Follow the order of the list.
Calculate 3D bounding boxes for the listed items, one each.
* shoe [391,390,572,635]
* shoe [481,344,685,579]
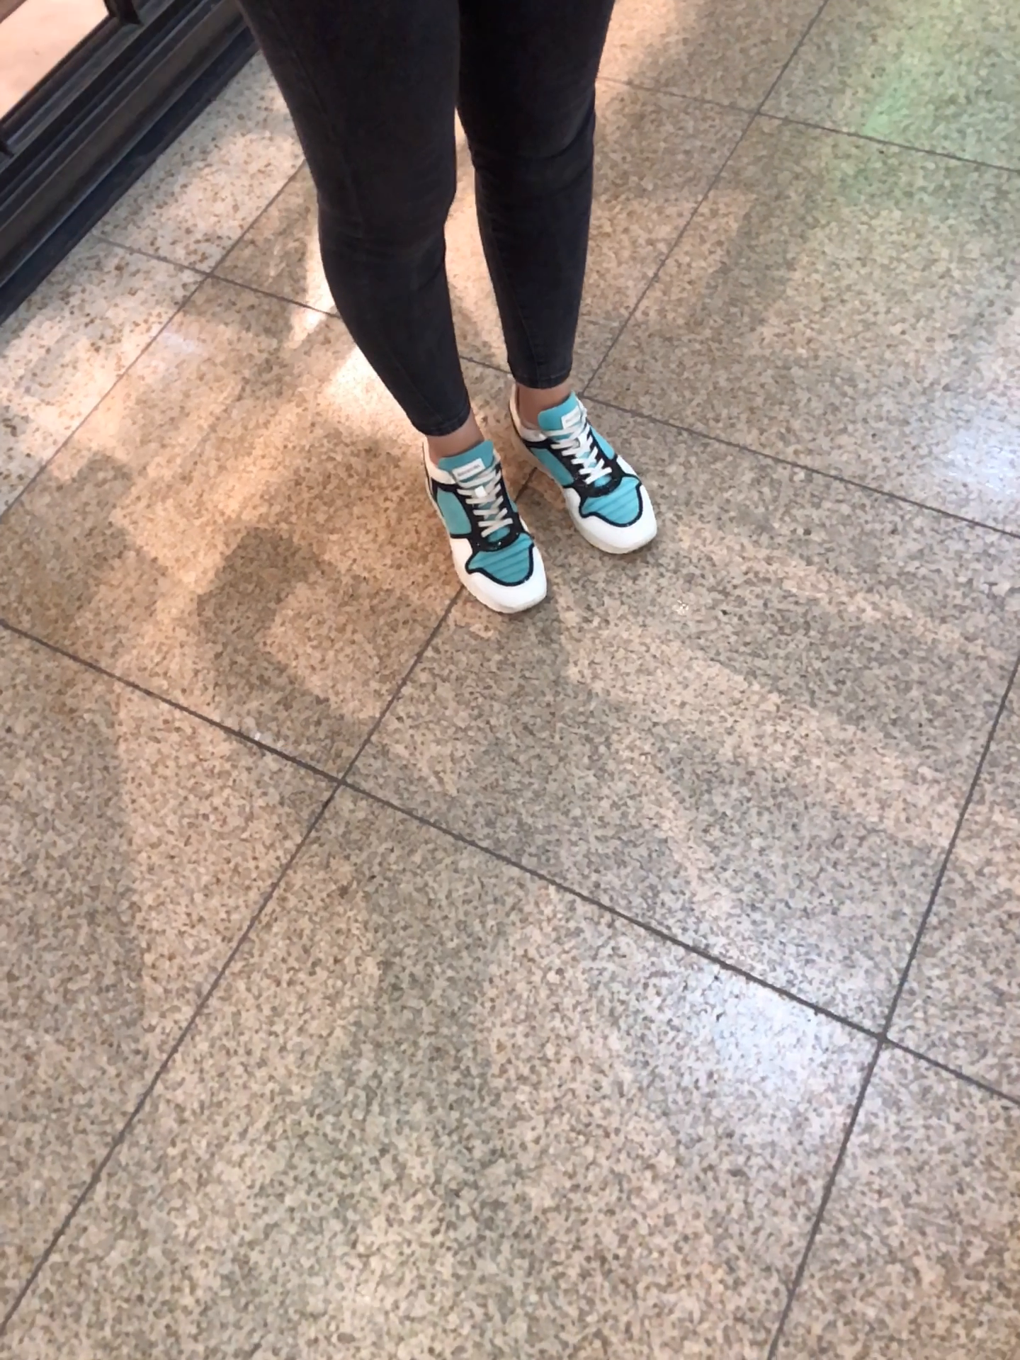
[{"bbox_3d":[-0.032,-0.193,1.280,0.100,0.120,0.240,-26,61,-7],"label":"shoe"},{"bbox_3d":[0.083,-0.254,1.289,0.100,0.120,0.240,-35,63,-12],"label":"shoe"}]
